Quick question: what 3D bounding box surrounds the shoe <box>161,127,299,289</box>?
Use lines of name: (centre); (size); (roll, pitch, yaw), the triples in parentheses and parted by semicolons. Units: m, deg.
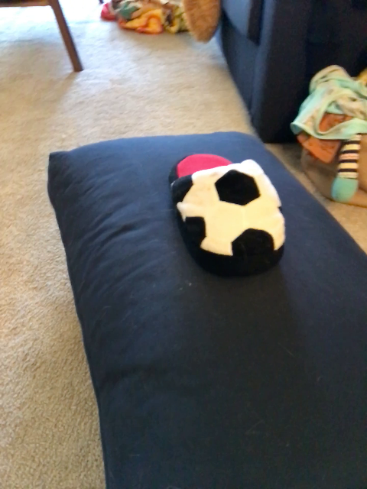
shoe: (0.042, -0.057, 0.486); (0.108, 0.072, 0.214); (-7, 43, -8)
